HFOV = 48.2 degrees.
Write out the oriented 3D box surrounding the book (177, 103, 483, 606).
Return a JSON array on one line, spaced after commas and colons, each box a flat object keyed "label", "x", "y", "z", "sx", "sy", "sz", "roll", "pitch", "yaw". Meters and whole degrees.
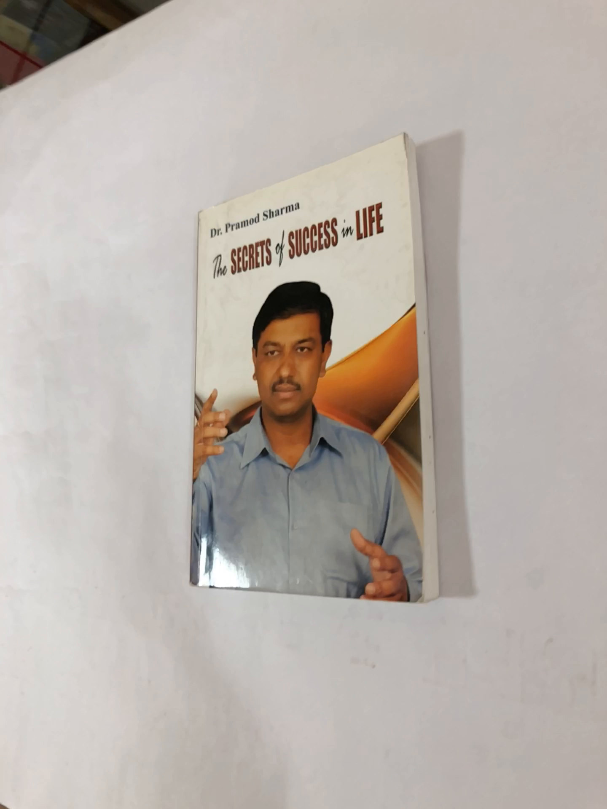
[{"label": "book", "x": 0.003, "y": -0.017, "z": 0.324, "sx": 0.151, "sy": 0.020, "sz": 0.210, "roll": -8, "pitch": 77, "yaw": 35}]
